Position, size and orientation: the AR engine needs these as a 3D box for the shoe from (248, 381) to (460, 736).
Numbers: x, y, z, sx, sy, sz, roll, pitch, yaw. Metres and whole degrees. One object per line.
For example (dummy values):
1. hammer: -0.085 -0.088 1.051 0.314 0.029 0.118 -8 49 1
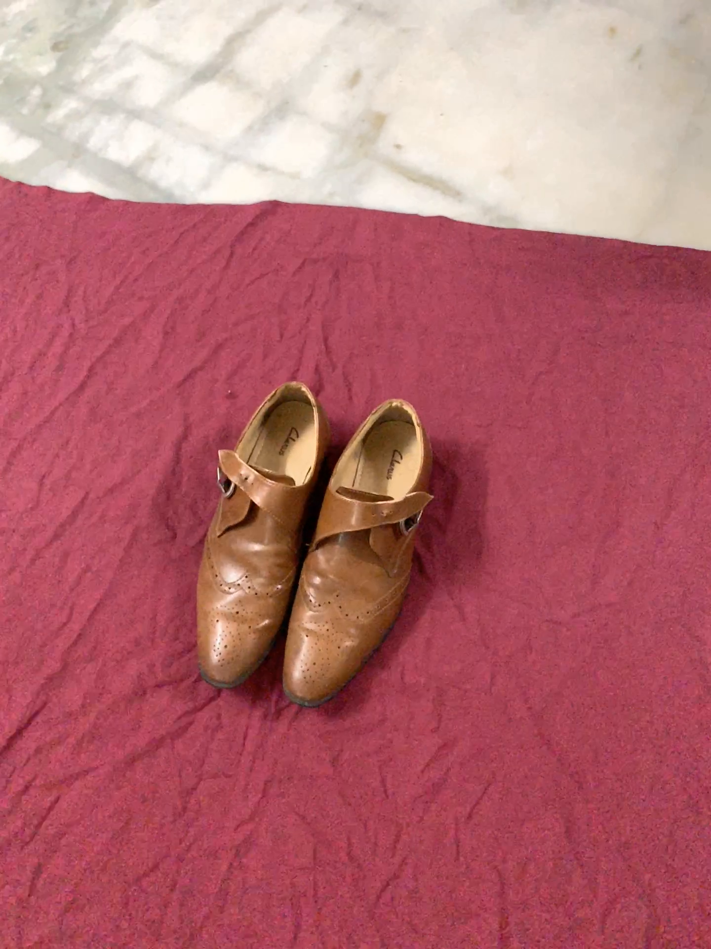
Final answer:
1. shoe: 0.007 0.073 0.701 0.100 0.090 0.311 16 66 9

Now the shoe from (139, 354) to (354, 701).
1. shoe: -0.088 0.043 0.690 0.100 0.090 0.301 13 65 7
